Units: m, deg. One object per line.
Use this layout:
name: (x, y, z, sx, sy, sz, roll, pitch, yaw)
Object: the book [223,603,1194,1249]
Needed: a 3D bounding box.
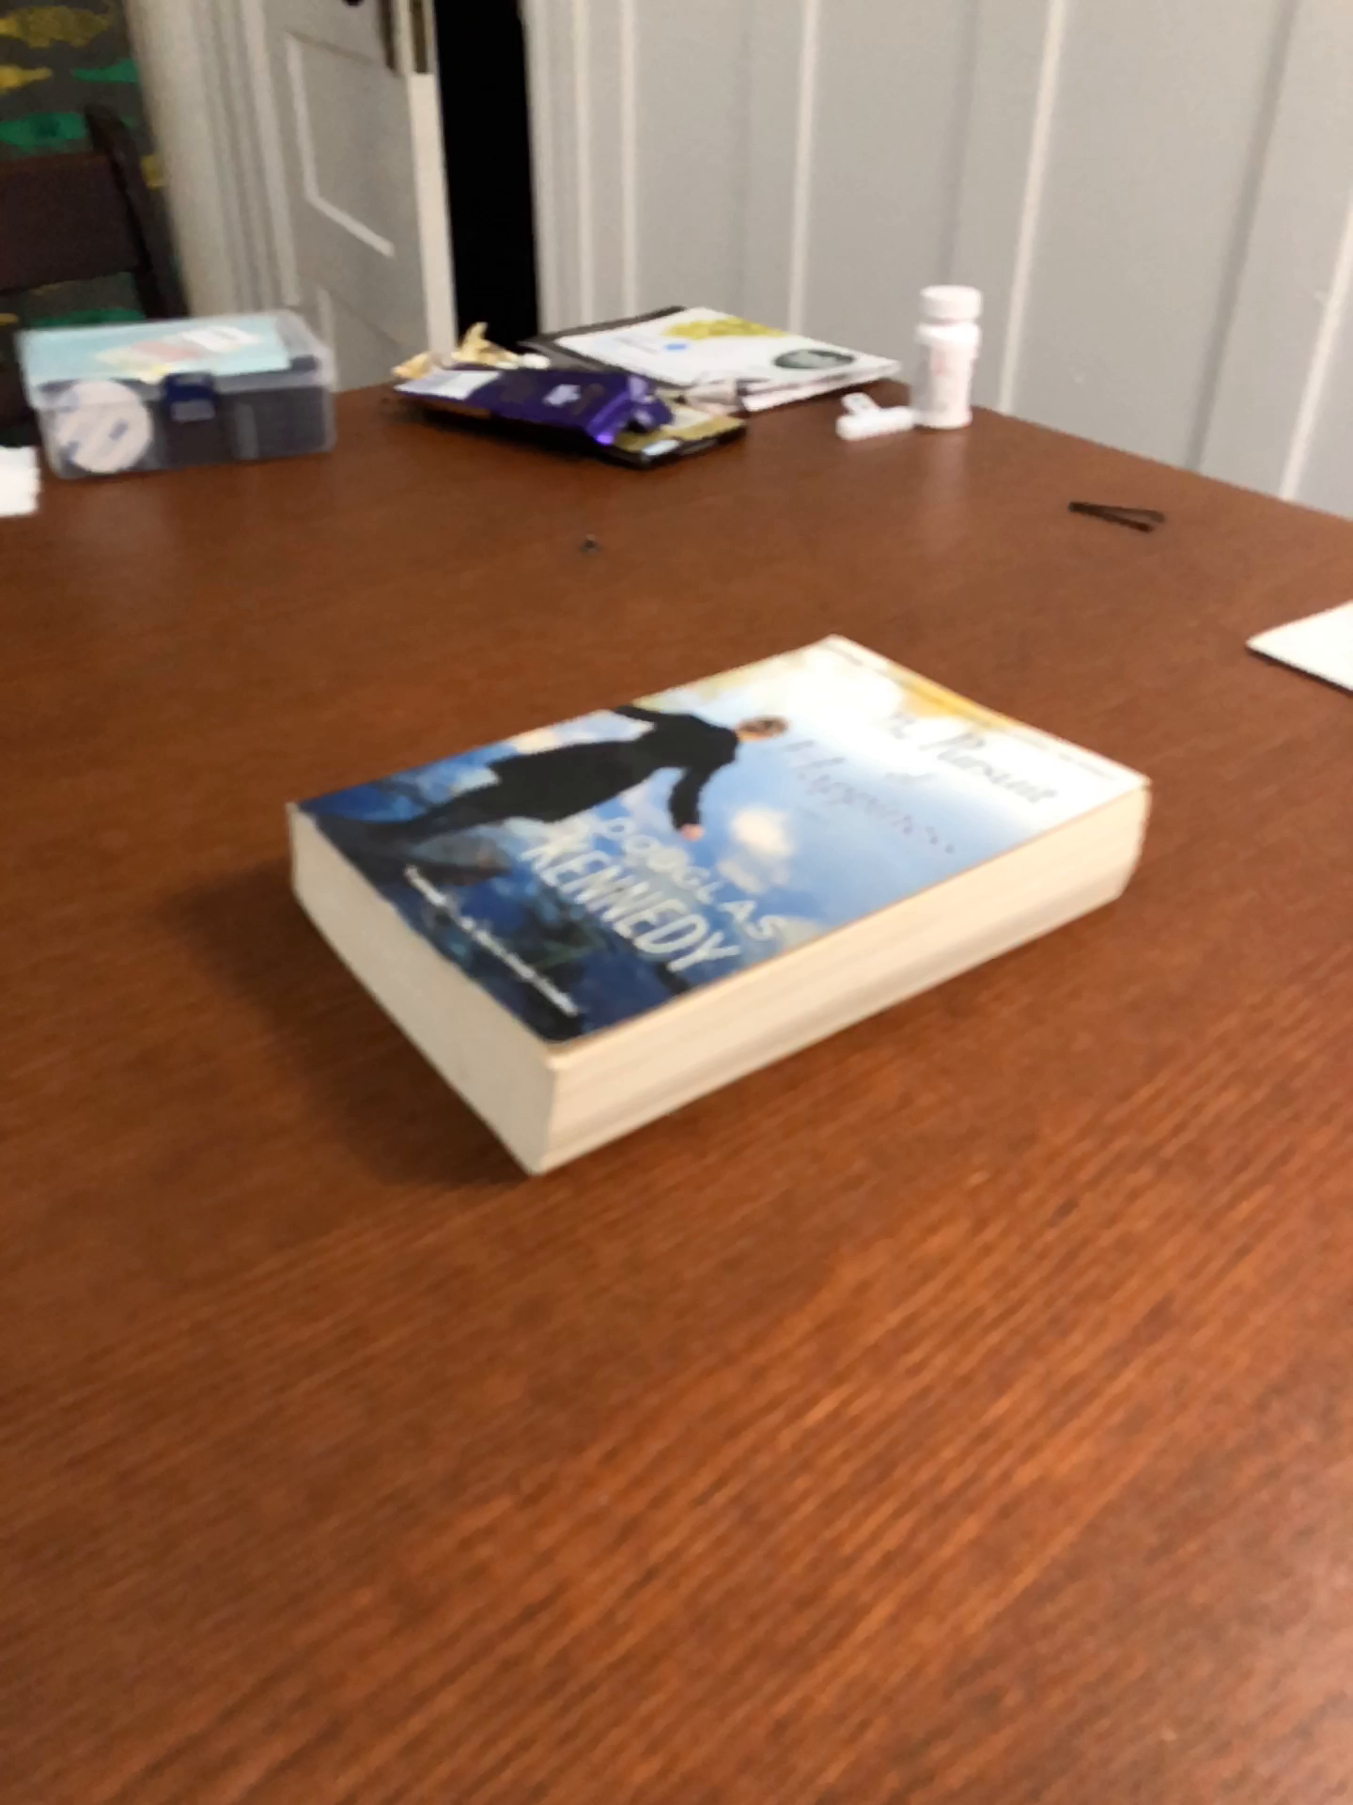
book: (0.012, -0.015, 0.449, 0.241, 0.050, 0.161, -22, 41, -30)
